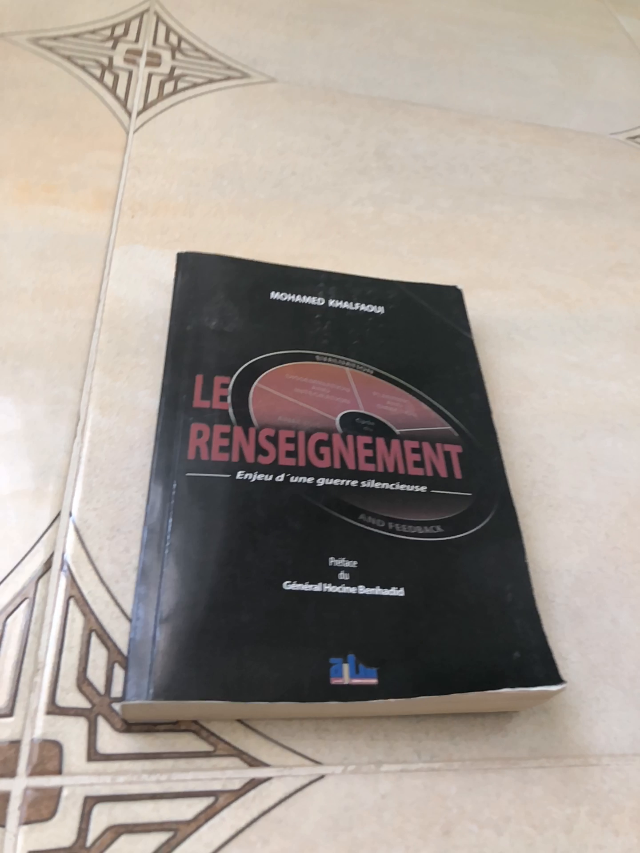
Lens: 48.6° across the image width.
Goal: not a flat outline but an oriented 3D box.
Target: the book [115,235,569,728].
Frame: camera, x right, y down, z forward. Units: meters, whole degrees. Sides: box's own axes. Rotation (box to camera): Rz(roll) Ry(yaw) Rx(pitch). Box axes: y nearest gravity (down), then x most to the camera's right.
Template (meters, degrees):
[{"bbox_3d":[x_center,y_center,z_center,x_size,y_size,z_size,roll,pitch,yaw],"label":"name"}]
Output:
[{"bbox_3d":[0.002,0.013,0.292,0.146,0.037,0.201,5,54,-13],"label":"book"}]
